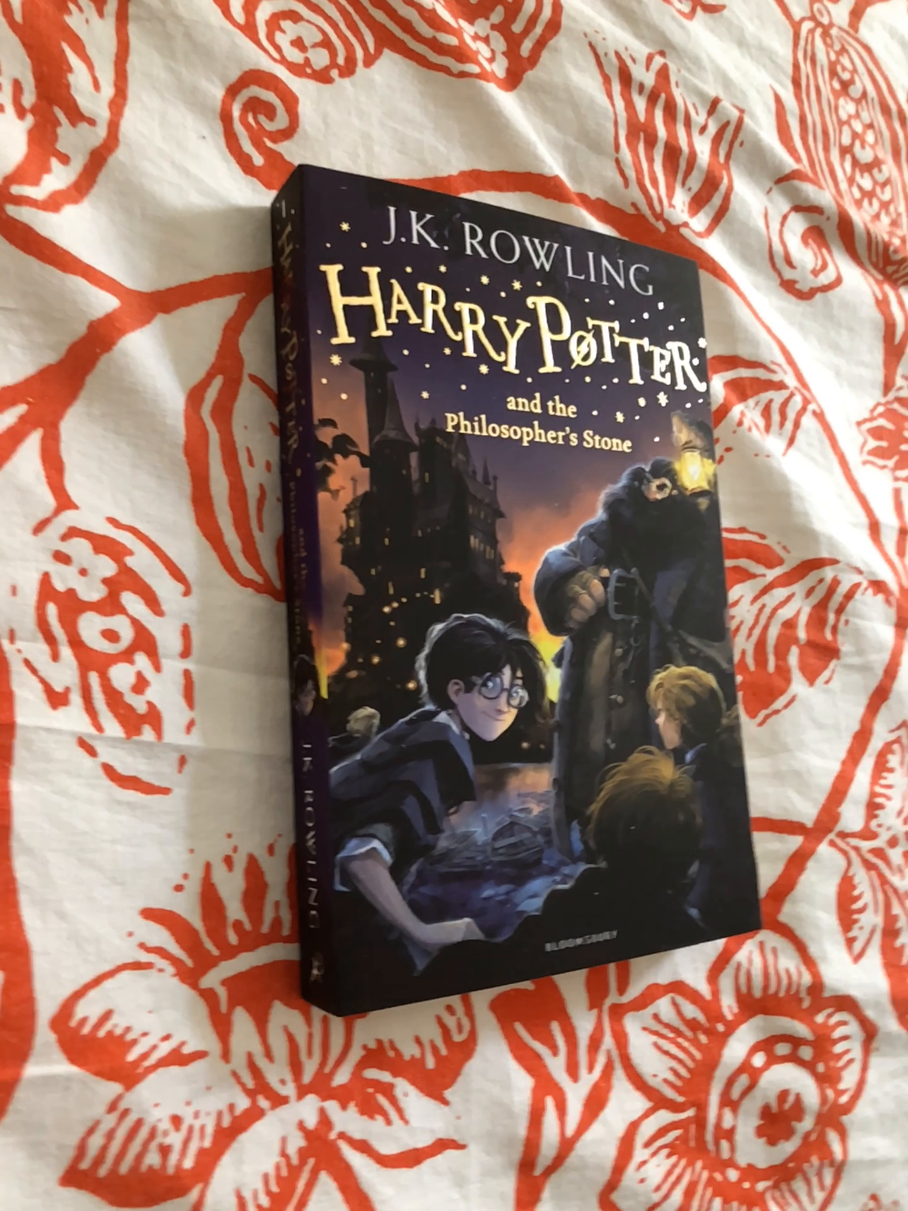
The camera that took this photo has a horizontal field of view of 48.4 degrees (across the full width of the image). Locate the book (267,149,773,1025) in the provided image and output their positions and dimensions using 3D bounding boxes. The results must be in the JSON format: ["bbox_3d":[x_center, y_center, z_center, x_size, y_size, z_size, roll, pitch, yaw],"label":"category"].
[{"bbox_3d":[0.020,-0.007,0.257,0.127,0.020,0.189,1,82,-31],"label":"book"}]
